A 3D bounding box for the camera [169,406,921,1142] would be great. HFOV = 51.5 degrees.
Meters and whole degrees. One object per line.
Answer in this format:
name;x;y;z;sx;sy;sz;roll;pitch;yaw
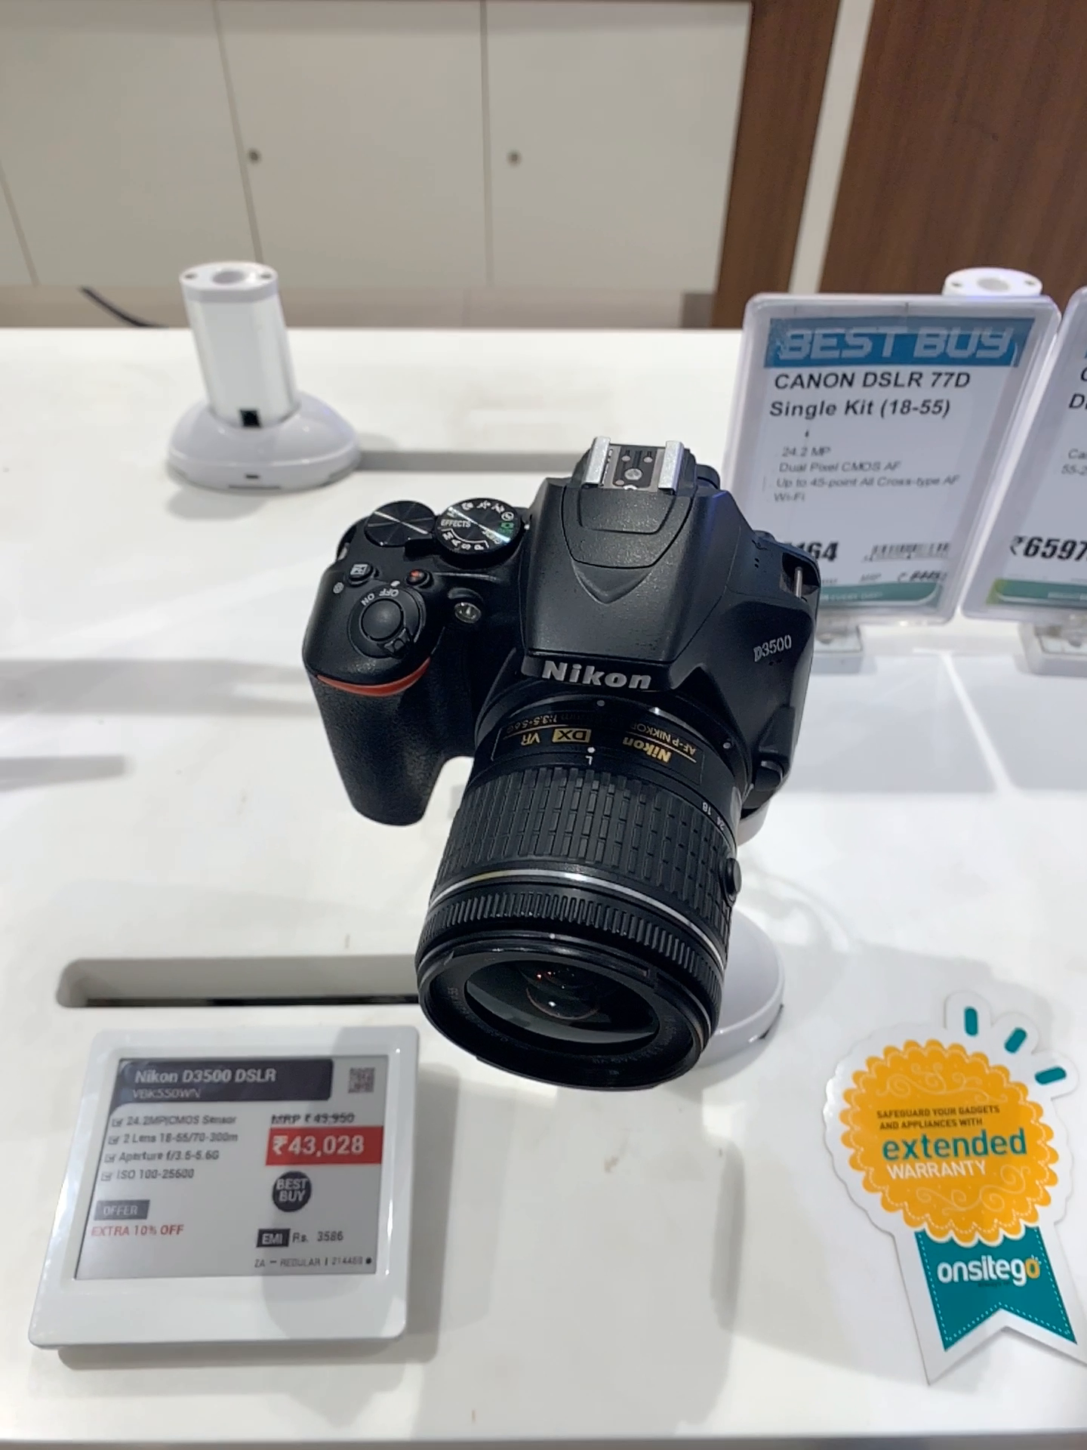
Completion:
camera;0.006;0.008;0.230;0.110;0.090;0.103;7;47;6
